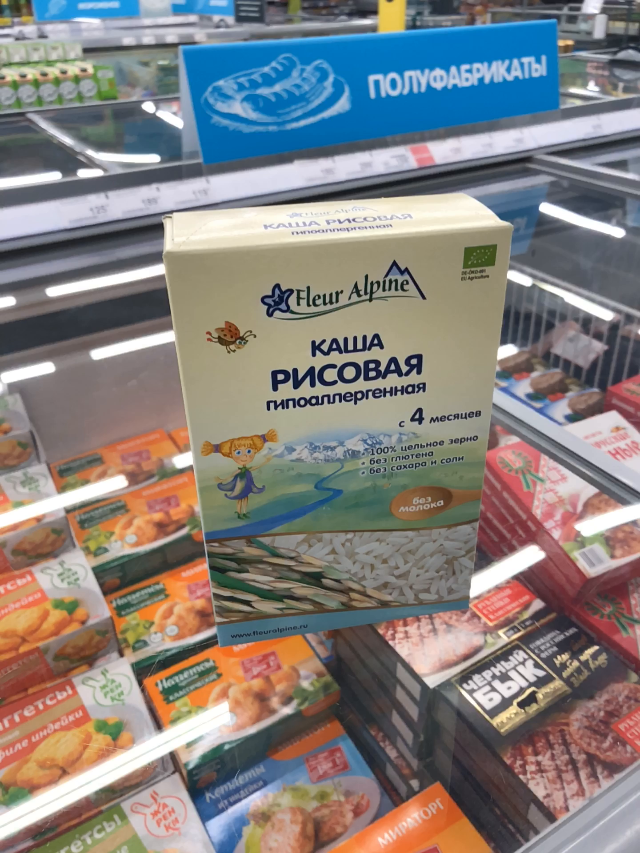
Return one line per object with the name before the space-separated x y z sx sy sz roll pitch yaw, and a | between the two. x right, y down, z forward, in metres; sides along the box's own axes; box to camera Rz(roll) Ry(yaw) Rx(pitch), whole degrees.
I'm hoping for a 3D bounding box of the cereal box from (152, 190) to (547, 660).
cereal box | 0.011 0.007 0.319 0.140 0.199 0.050 -7 32 -8
